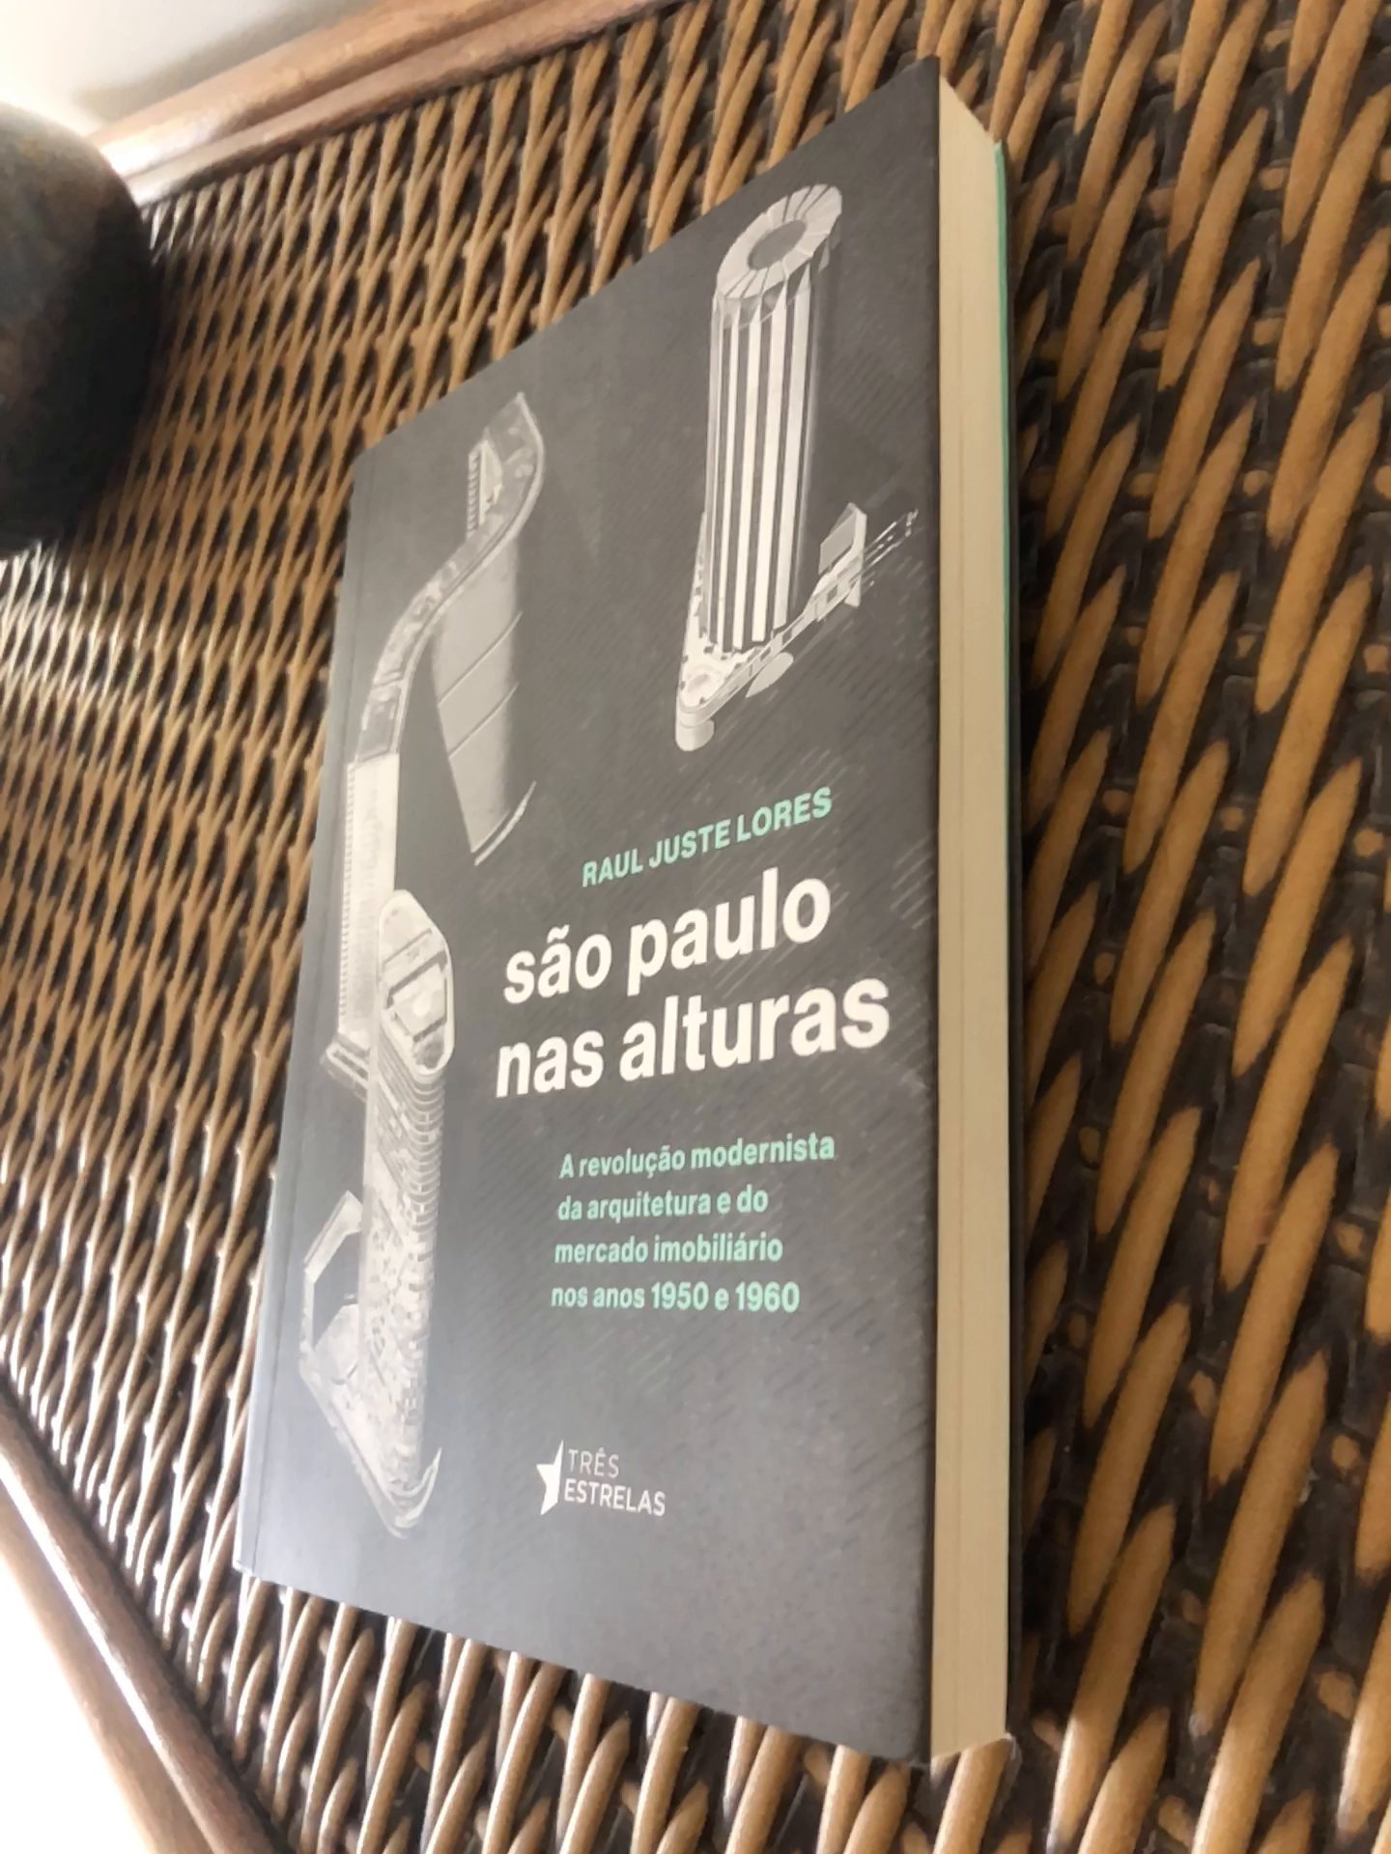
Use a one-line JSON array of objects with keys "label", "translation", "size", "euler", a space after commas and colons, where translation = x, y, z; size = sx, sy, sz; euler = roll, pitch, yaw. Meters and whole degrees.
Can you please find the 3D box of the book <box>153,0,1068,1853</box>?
[{"label": "book", "translation": [-0.021, -0.001, 0.240], "size": [0.161, 0.030, 0.221], "euler": [-7, 75, 46]}]
